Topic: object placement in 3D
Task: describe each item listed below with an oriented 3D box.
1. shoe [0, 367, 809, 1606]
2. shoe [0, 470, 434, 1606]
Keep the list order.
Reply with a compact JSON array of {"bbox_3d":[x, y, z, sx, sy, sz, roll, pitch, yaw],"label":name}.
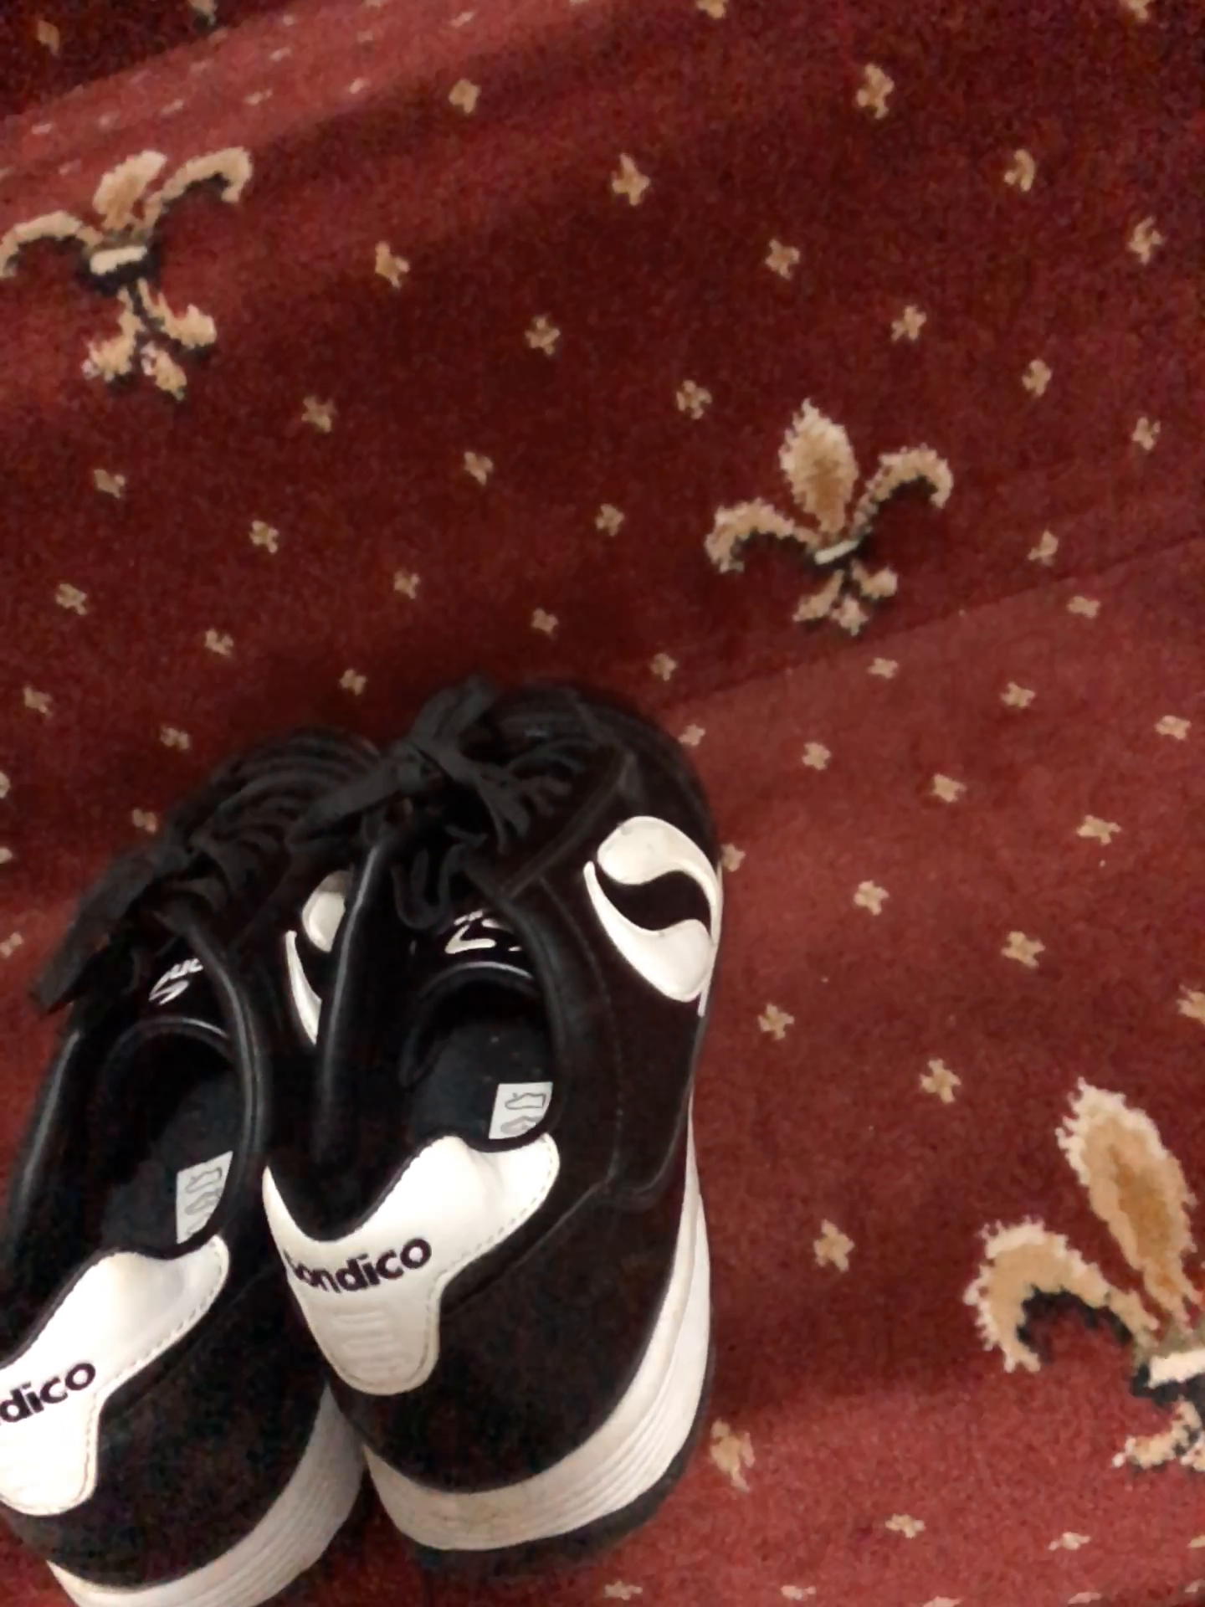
[{"bbox_3d":[-0.031,0.013,0.332,0.100,0.099,0.302,-15,39,10],"label":"shoe"},{"bbox_3d":[-0.110,0.040,0.344,0.100,0.099,0.302,-17,39,7],"label":"shoe"}]
